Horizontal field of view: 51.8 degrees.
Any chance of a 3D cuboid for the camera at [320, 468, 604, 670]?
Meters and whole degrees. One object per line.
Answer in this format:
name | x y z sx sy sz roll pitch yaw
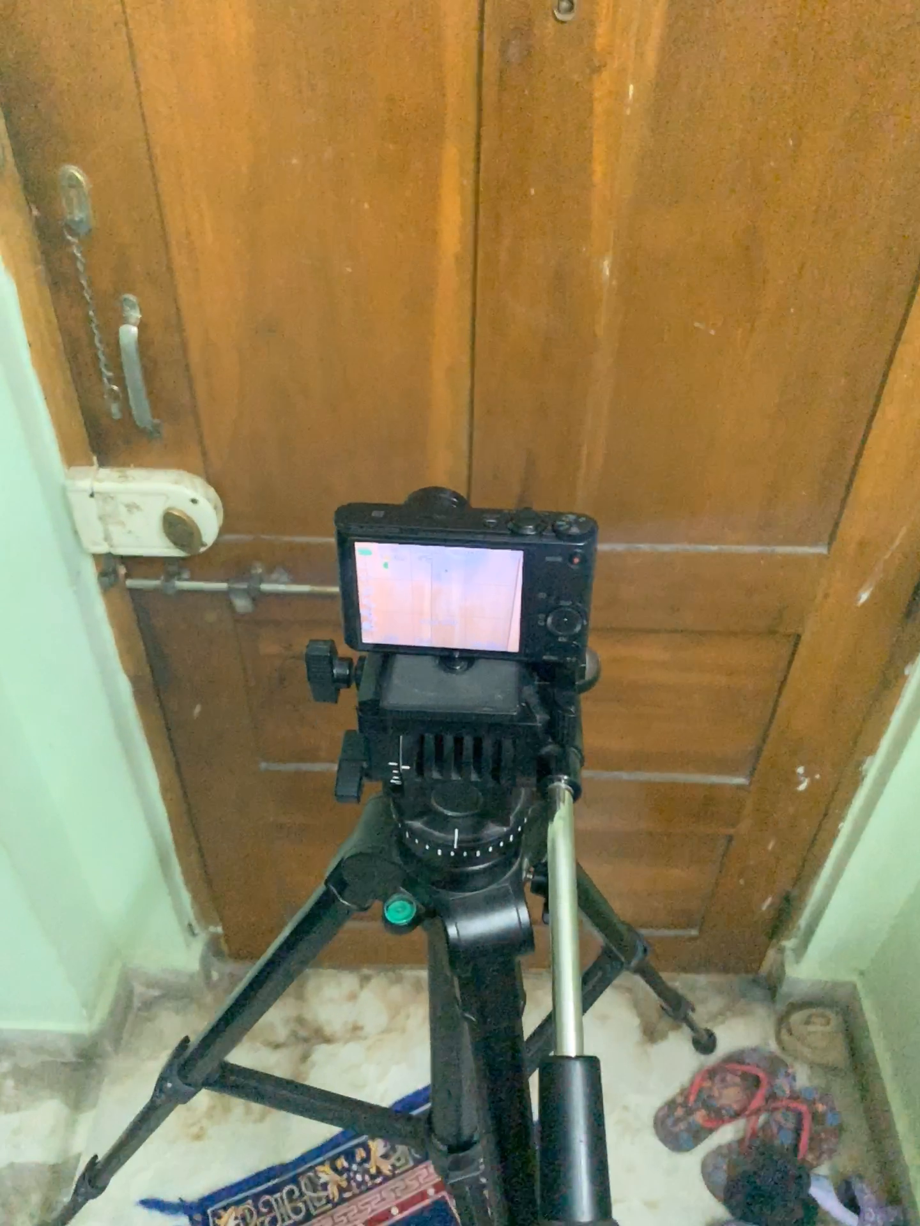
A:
camera | 0.001 -0.017 0.365 0.100 0.060 0.040 4 34 3
